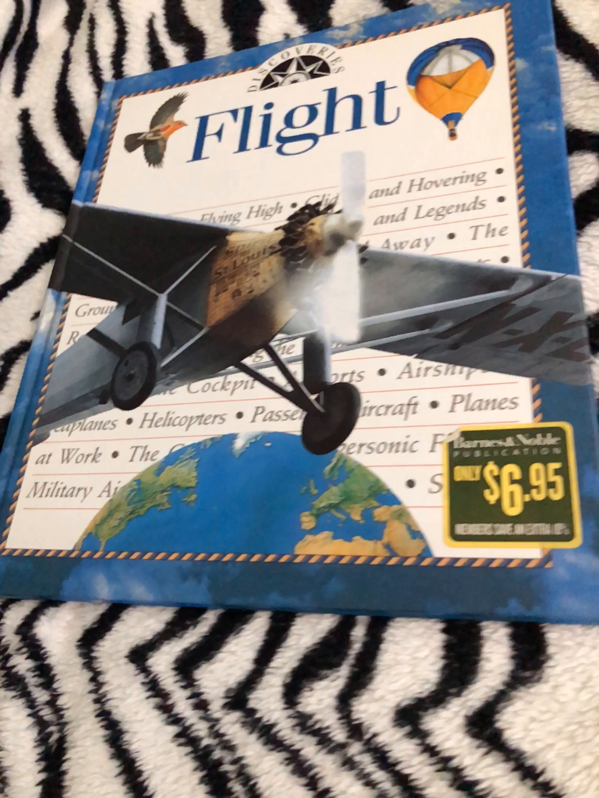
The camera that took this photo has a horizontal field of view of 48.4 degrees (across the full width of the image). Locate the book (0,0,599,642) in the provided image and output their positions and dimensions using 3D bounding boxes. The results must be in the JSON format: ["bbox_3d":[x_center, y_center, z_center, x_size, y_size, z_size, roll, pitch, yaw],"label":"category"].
[{"bbox_3d":[-0.015,-0.057,0.303,0.259,0.020,0.301,-3,64,17],"label":"book"}]
